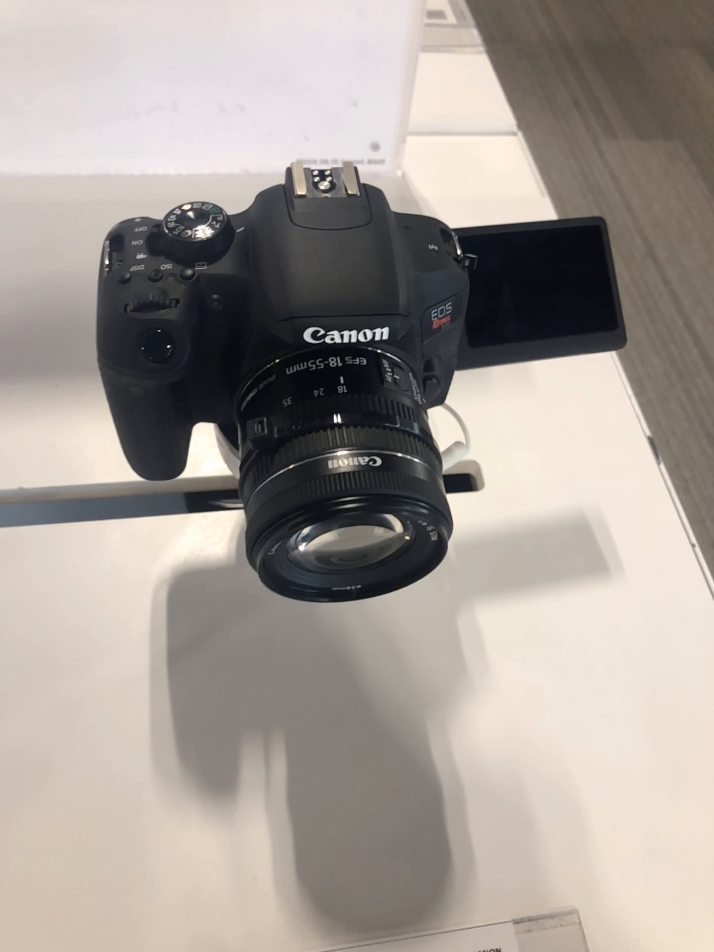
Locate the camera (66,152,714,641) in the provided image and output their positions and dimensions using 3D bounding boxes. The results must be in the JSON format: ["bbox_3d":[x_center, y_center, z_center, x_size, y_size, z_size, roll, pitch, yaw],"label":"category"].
[{"bbox_3d":[0.023,-0.029,0.268,0.210,0.100,0.110,-6,56,-9],"label":"camera"}]
